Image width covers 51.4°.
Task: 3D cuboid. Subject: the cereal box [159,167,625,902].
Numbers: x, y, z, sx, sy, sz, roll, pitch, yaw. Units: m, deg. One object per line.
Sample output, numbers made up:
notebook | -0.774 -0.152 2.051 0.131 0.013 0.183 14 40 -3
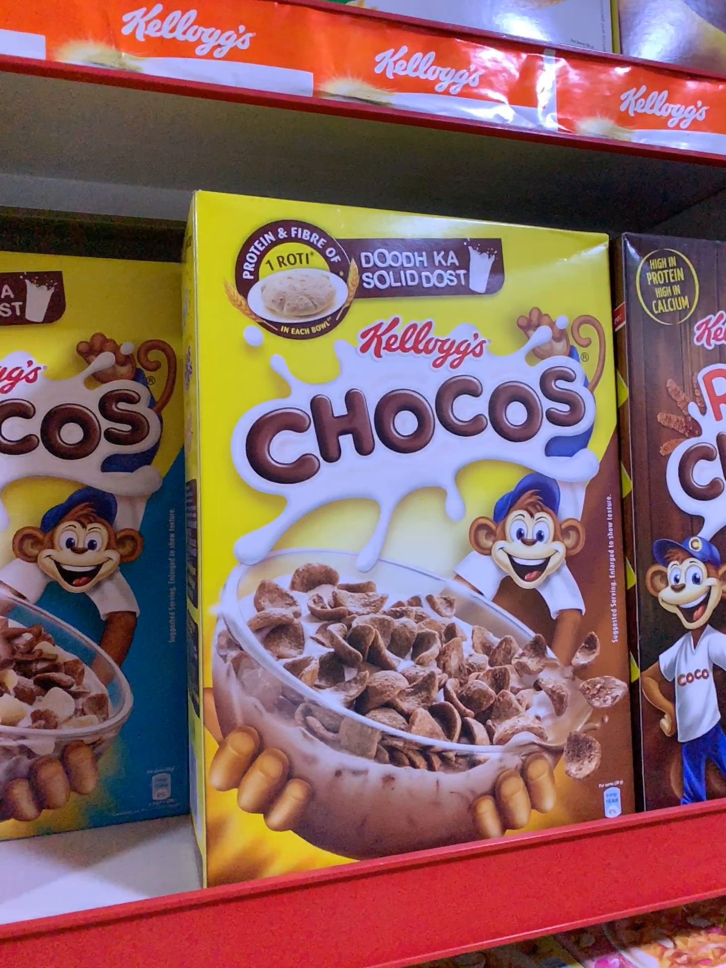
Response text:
cereal box | 0.009 0.014 0.301 0.170 0.240 0.060 -1 -2 -18
